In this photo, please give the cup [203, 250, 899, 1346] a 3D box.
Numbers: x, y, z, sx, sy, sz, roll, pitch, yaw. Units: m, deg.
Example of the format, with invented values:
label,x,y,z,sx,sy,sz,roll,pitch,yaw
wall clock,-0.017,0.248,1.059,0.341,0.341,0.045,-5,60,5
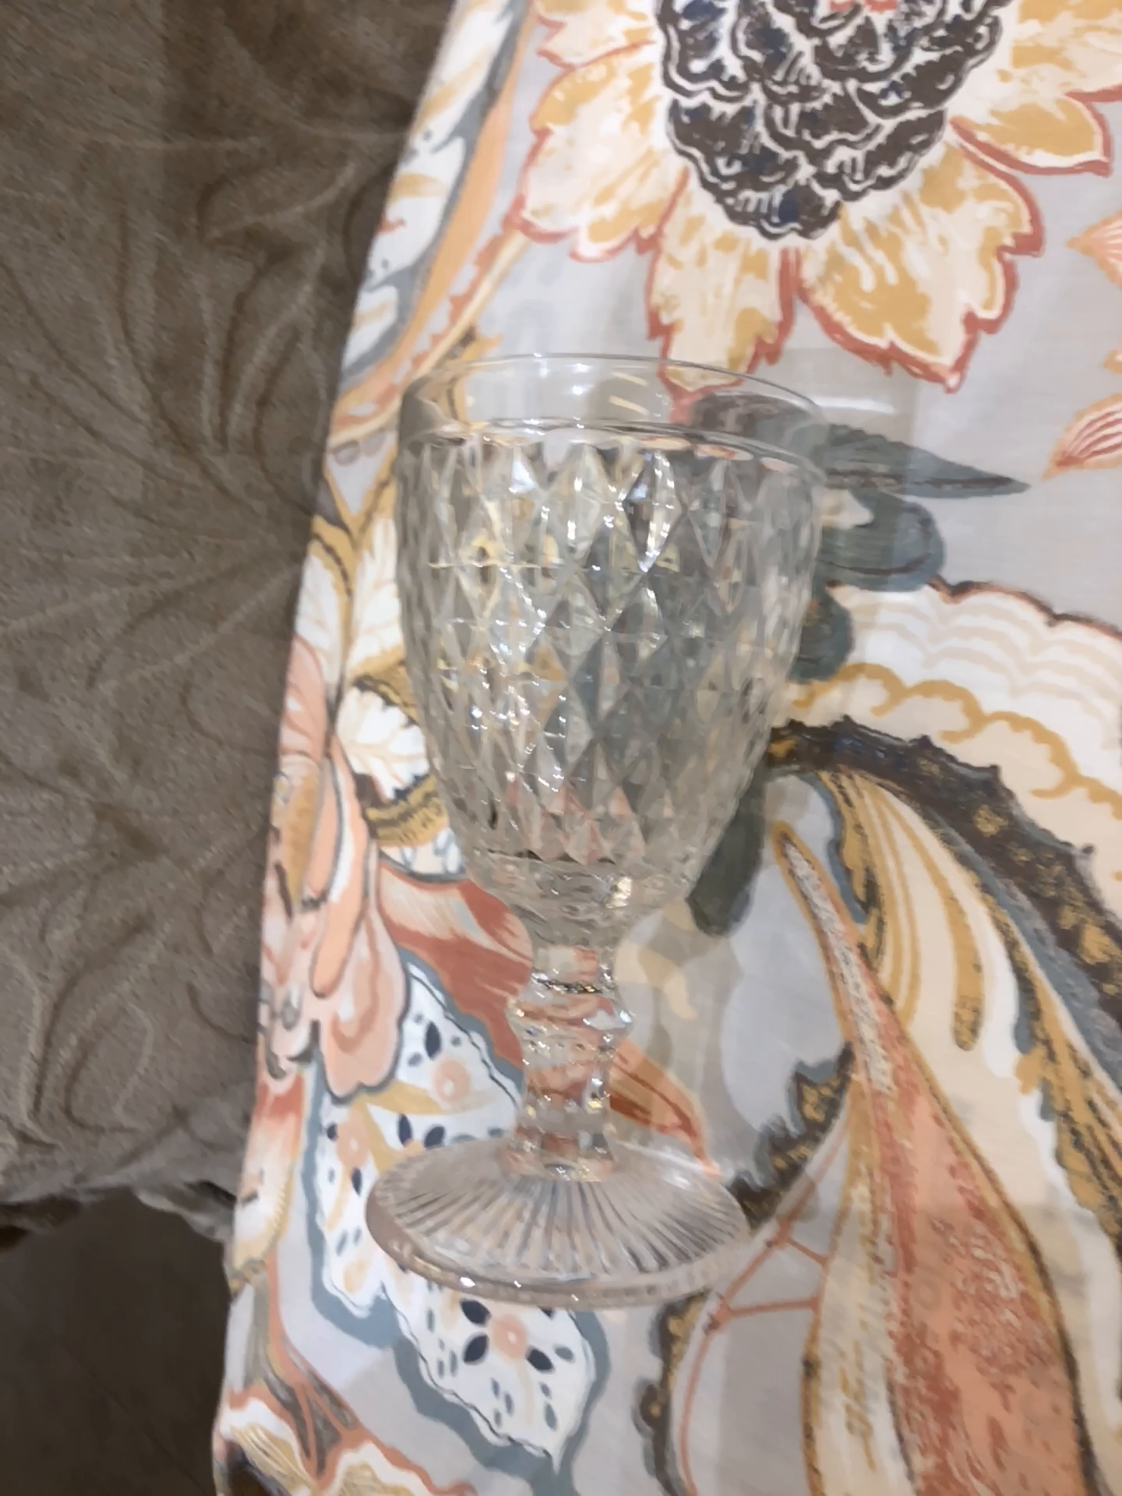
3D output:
label,x,y,z,sx,sy,sz,roll,pitch,yaw
cup,0.000,0.007,0.252,0.090,0.080,0.170,6,88,38
